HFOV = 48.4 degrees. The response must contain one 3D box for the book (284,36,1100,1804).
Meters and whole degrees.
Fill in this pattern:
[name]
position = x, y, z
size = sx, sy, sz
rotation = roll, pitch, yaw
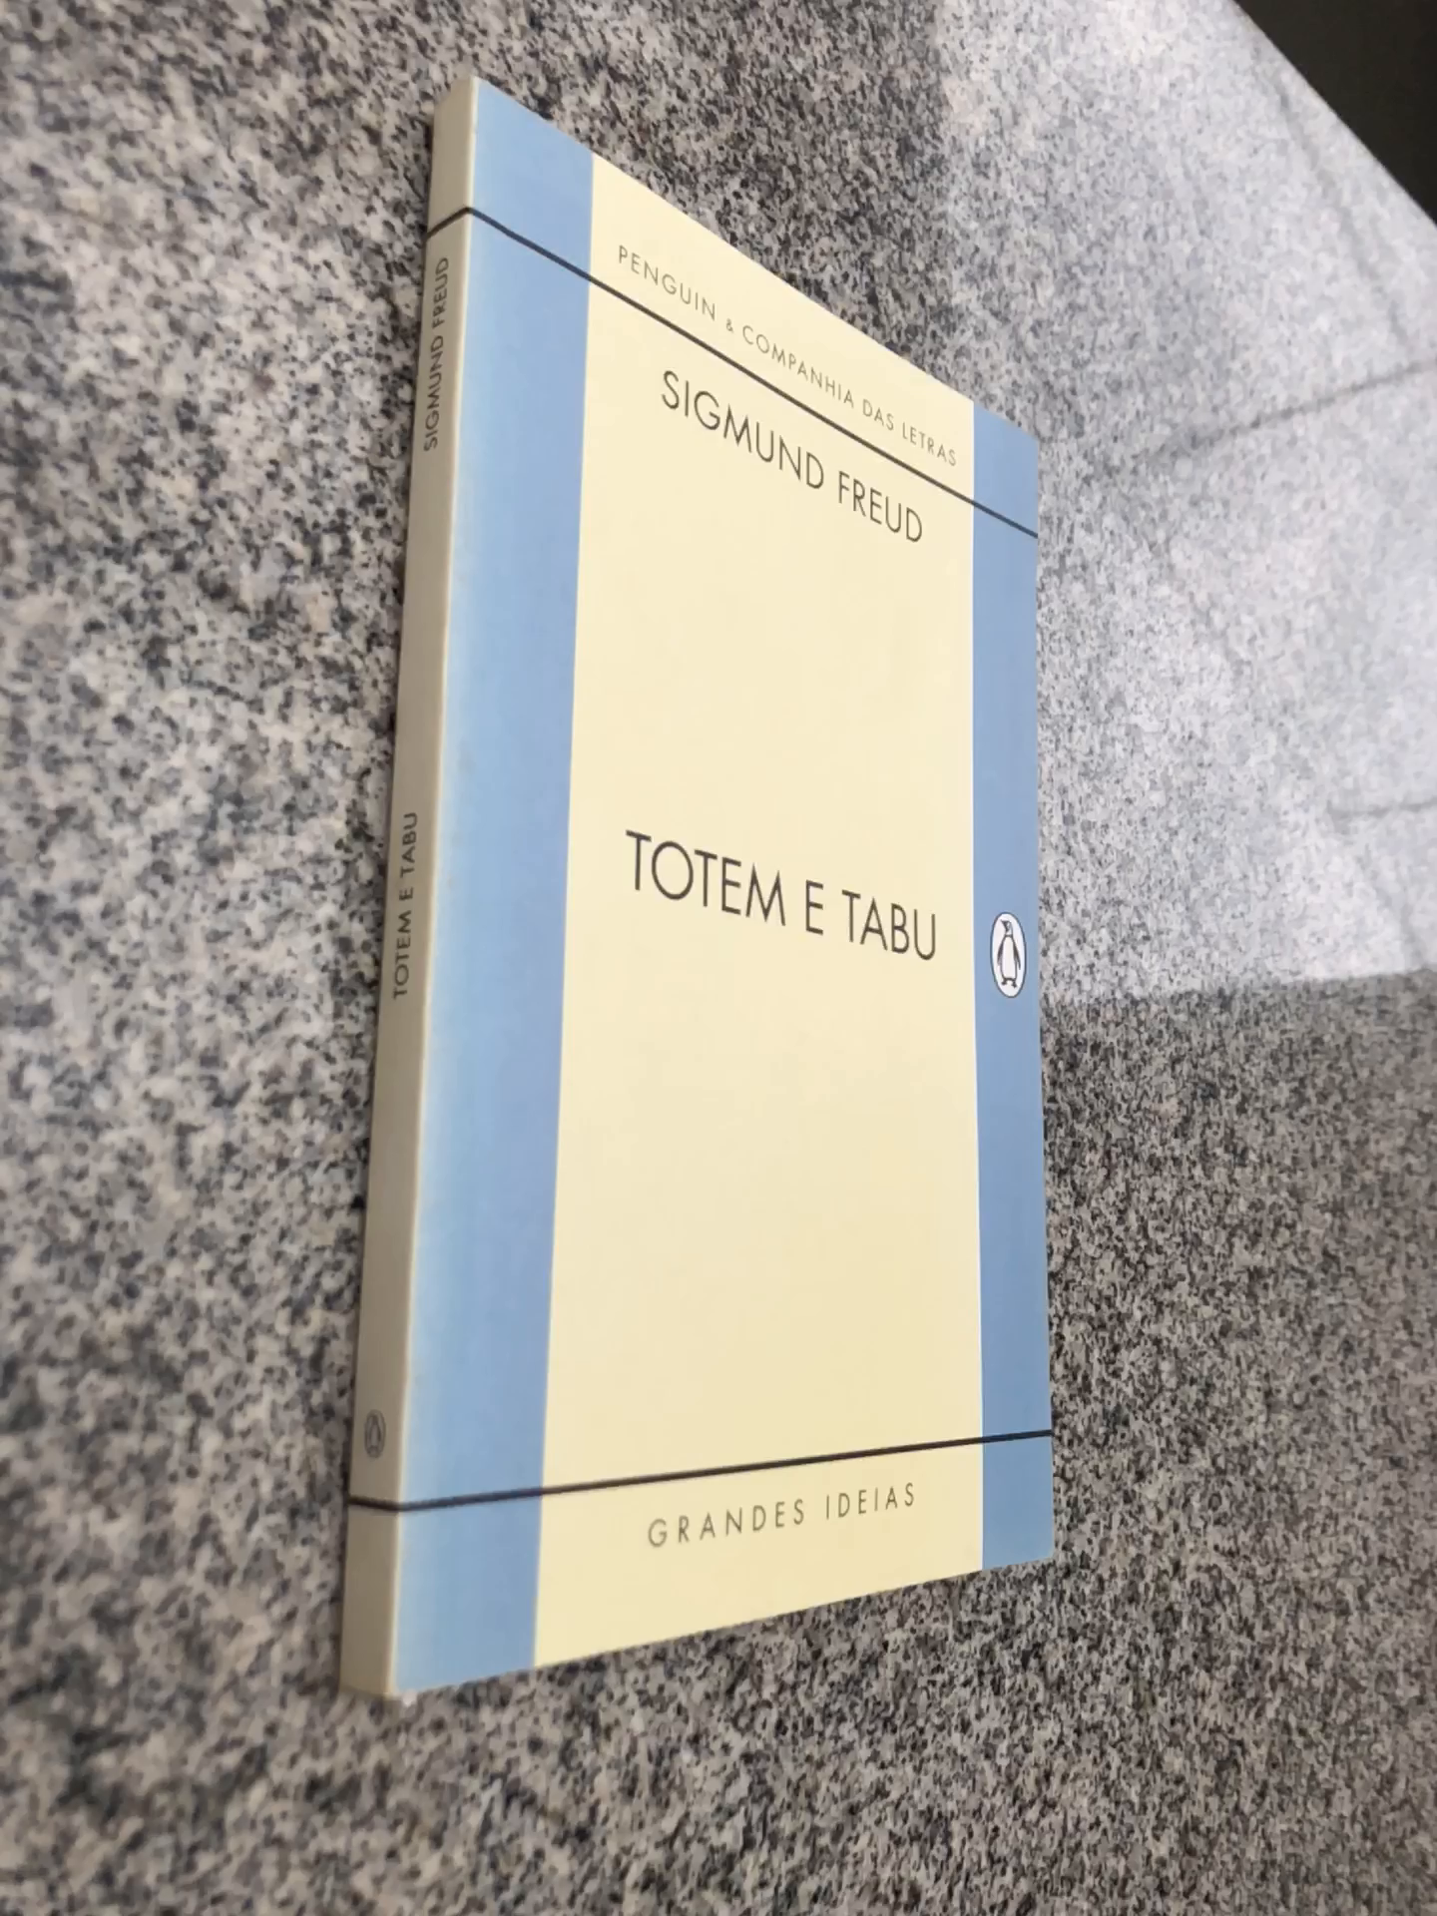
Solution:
[book]
position = 0.009, -0.004, 0.220
size = 0.131, 0.015, 0.191
rotation = 13, 74, -45
